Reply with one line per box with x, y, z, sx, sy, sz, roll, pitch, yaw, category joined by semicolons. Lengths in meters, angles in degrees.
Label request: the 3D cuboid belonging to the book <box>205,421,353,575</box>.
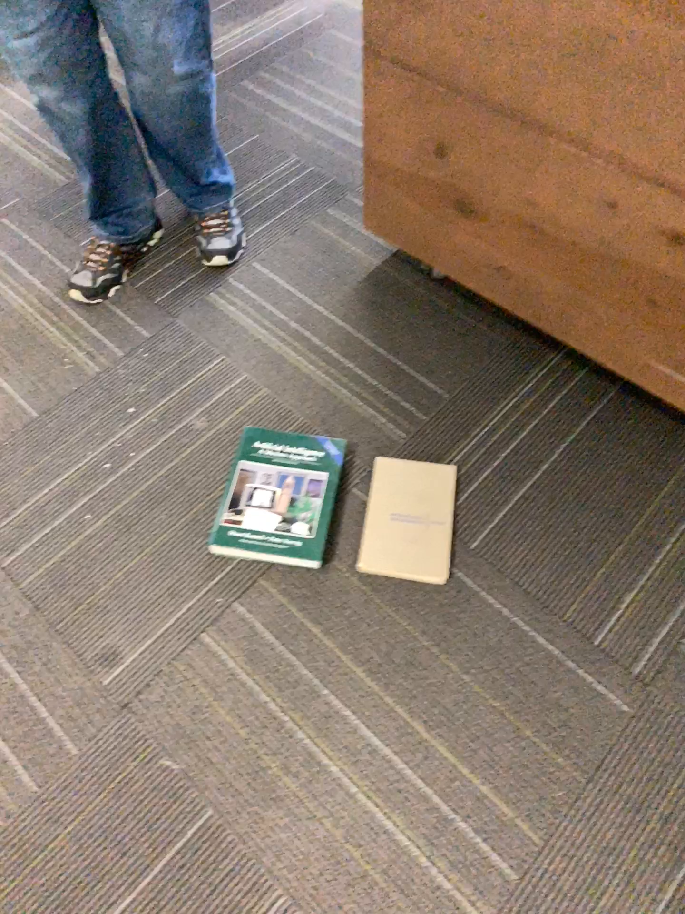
-0.110;0.070;1.305;0.220;0.050;0.271;7;58;7;book

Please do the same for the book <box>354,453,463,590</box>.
0.125;0.111;1.275;0.170;0.023;0.246;7;58;7;book
